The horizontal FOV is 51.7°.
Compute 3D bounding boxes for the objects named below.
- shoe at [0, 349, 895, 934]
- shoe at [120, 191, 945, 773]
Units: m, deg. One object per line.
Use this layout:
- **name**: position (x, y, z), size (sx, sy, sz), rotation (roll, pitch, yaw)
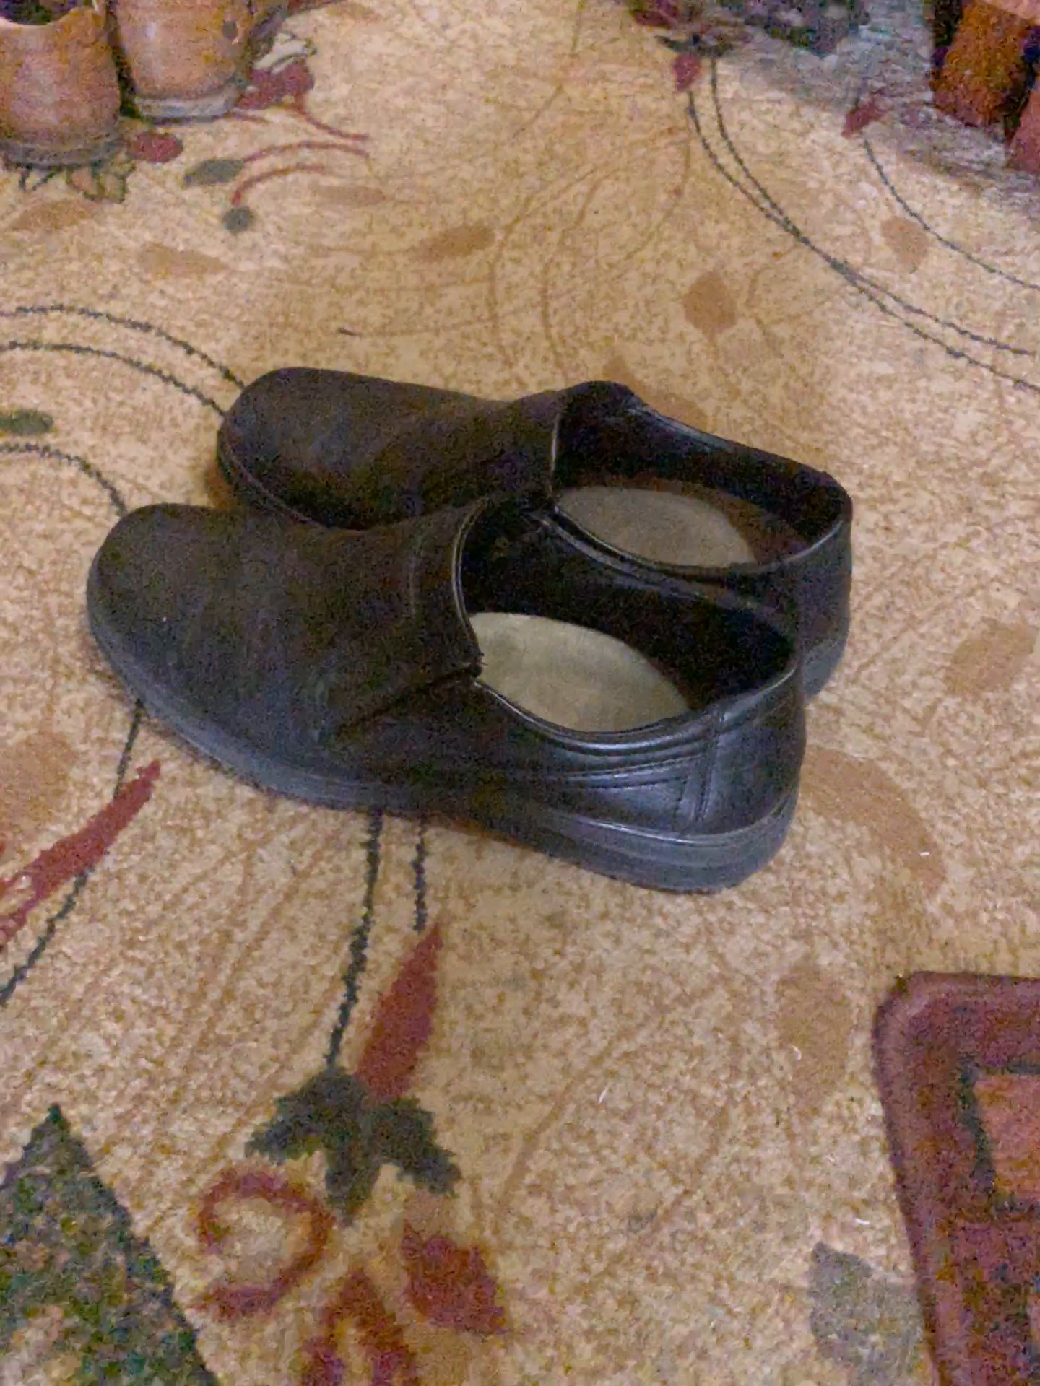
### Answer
- **shoe**: position (-0.032, -0.020, 0.383), size (0.290, 0.099, 0.101), rotation (15, 54, 7)
- **shoe**: position (0.000, -0.091, 0.435), size (0.290, 0.099, 0.101), rotation (24, 56, 13)
